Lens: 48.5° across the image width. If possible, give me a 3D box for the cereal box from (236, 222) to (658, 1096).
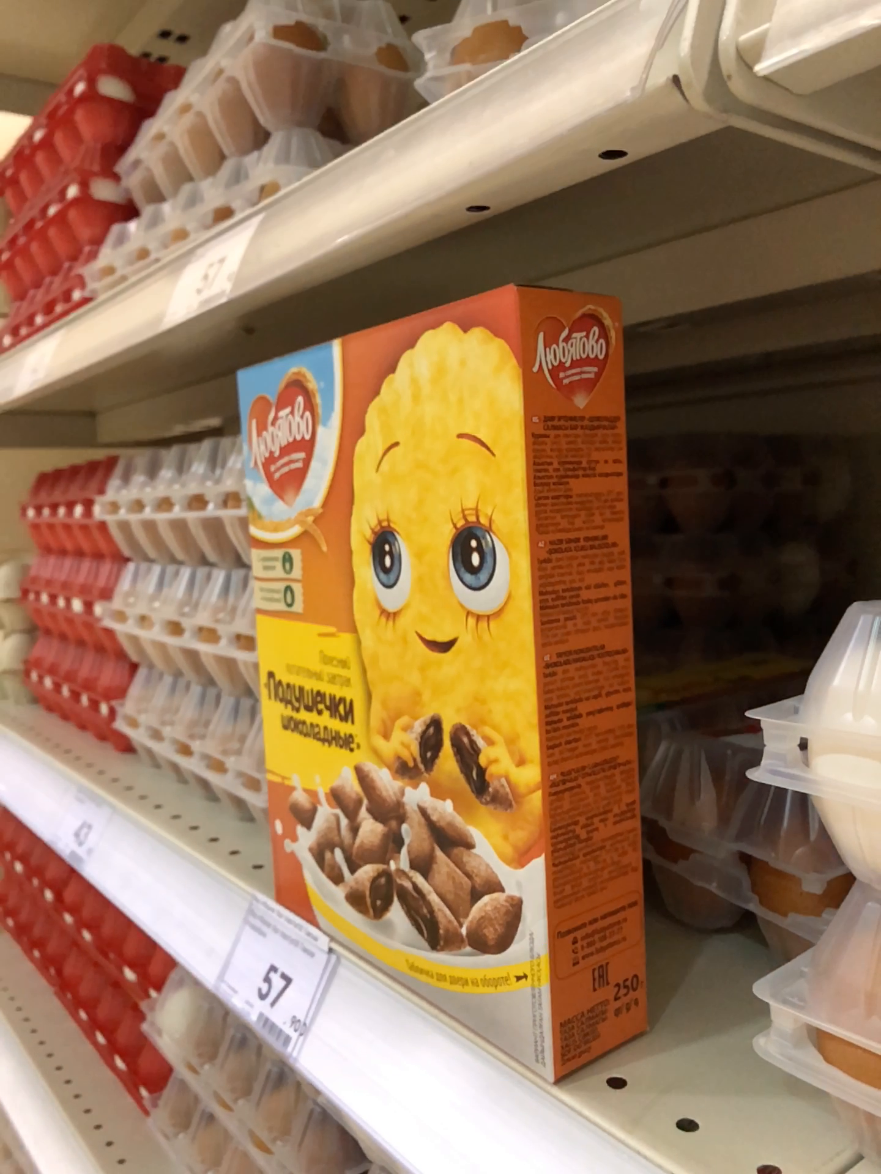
[{"bbox_3d":[-0.009,0.017,0.349,0.040,0.240,0.180,-6,6,-36],"label":"cereal box"}]
